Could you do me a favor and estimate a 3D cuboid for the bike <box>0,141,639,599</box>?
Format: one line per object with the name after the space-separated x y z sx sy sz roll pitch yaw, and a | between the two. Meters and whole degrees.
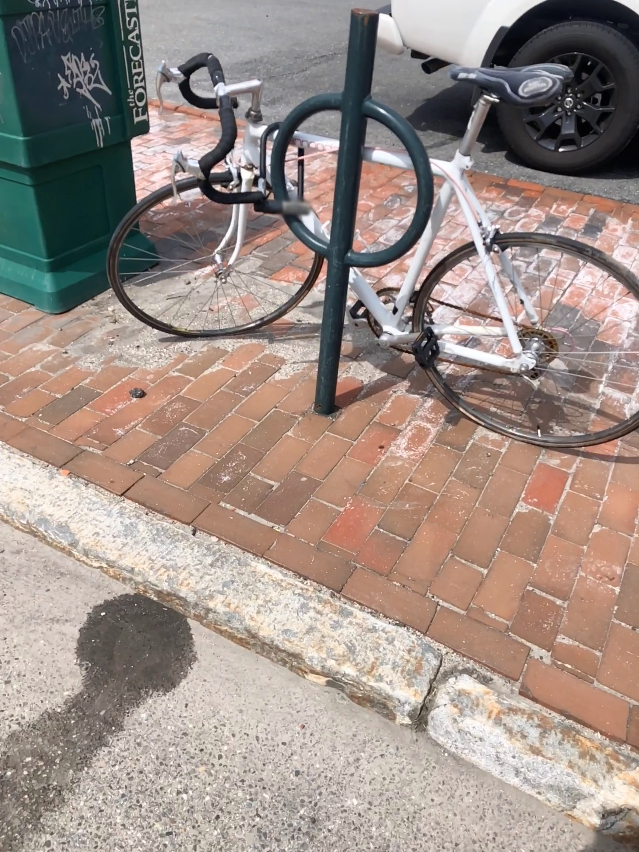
0.051 -0.161 1.474 1.273 0.650 0.467 12 38 14 | bike
